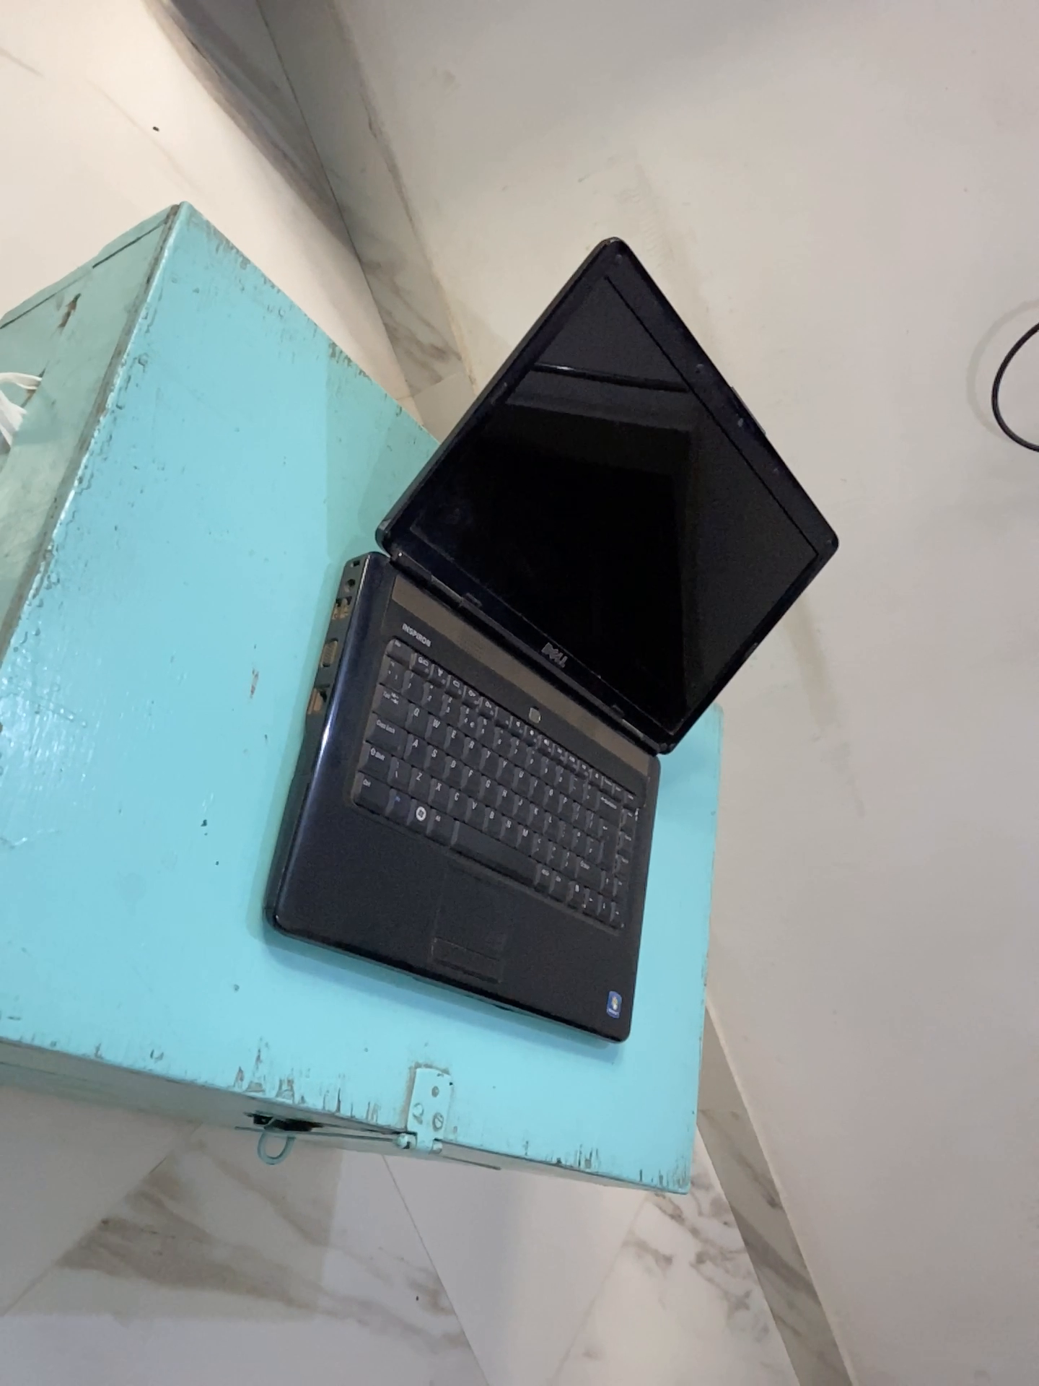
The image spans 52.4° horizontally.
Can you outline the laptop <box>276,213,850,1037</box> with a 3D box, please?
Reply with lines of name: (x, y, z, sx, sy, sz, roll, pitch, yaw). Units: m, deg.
laptop: (0.075, -0.009, 0.723, 0.364, 0.162, 0.412, 35, 56, -45)
